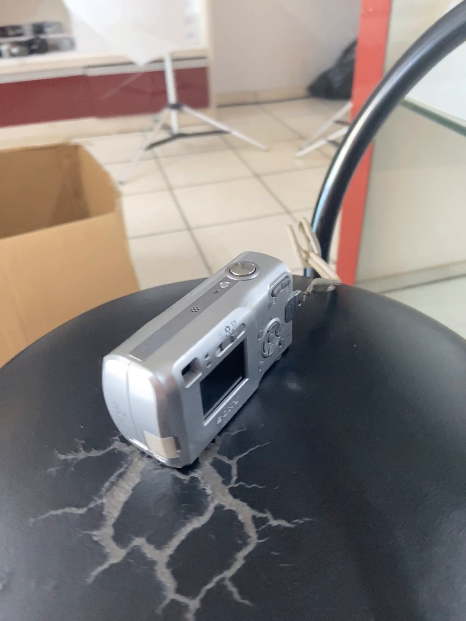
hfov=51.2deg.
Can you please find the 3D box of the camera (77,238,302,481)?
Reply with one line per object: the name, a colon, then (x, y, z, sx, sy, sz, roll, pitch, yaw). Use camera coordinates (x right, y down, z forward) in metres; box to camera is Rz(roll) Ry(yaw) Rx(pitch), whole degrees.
camera: (-0.012, 0.015, 0.219, 0.040, 0.050, 0.100, 21, 43, 29)
